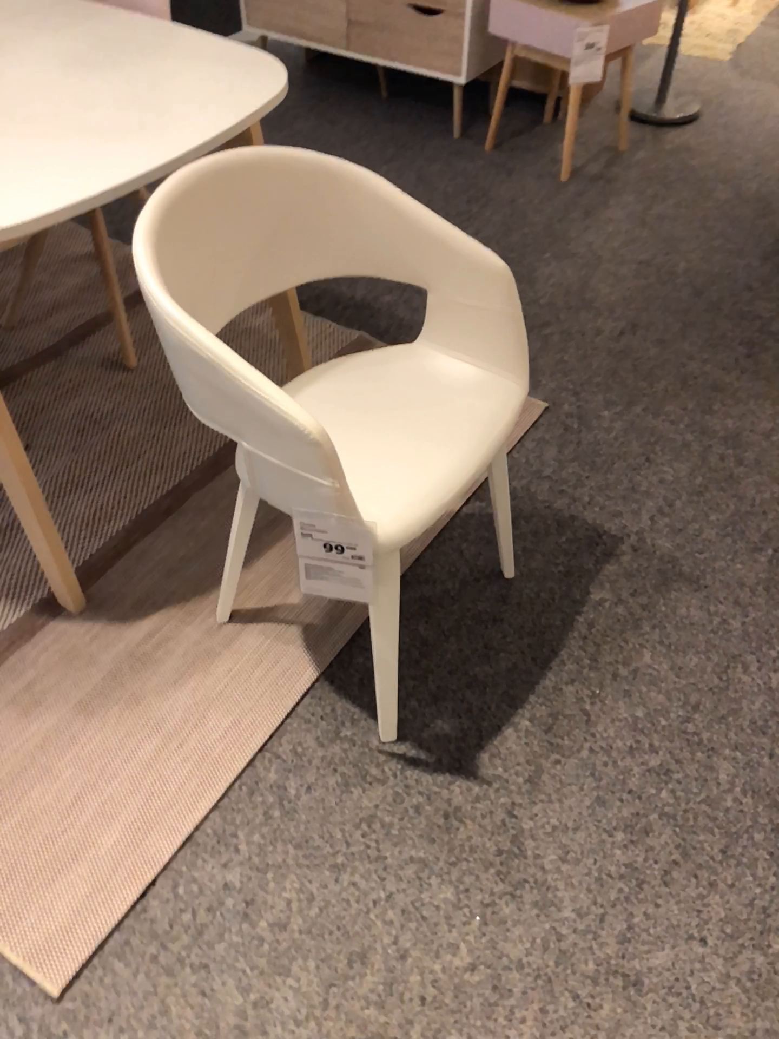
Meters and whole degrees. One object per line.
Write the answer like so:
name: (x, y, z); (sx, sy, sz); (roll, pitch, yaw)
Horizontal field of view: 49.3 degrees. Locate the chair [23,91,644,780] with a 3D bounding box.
chair: (-0.053, -0.129, 1.332); (0.560, 0.756, 0.553); (25, 50, 21)
